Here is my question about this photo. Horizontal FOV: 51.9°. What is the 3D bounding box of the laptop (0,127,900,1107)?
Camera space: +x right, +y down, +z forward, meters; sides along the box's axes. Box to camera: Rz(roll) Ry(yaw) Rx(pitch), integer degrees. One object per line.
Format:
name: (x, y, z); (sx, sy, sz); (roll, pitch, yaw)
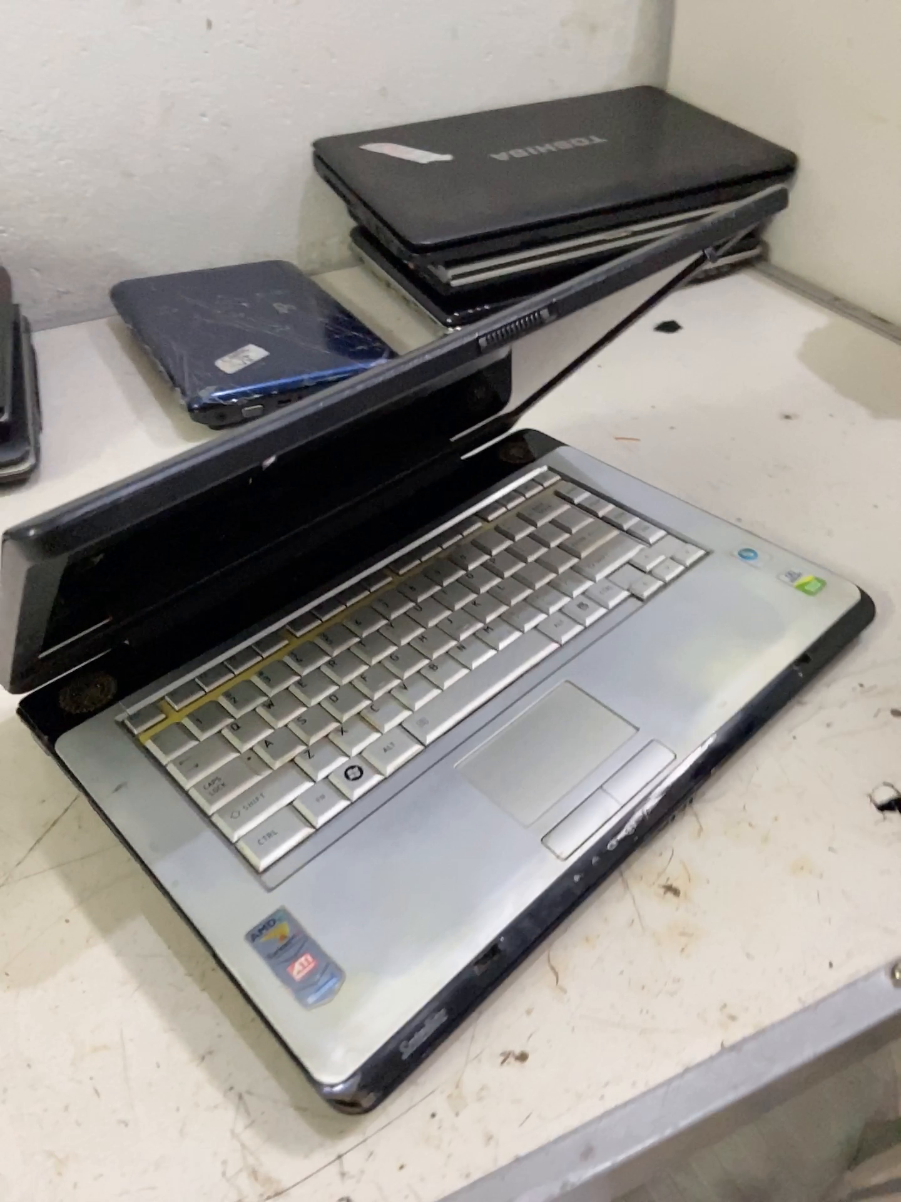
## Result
laptop: (0.004, -0.046, 0.412); (0.357, 0.185, 0.257); (-33, 49, -30)
